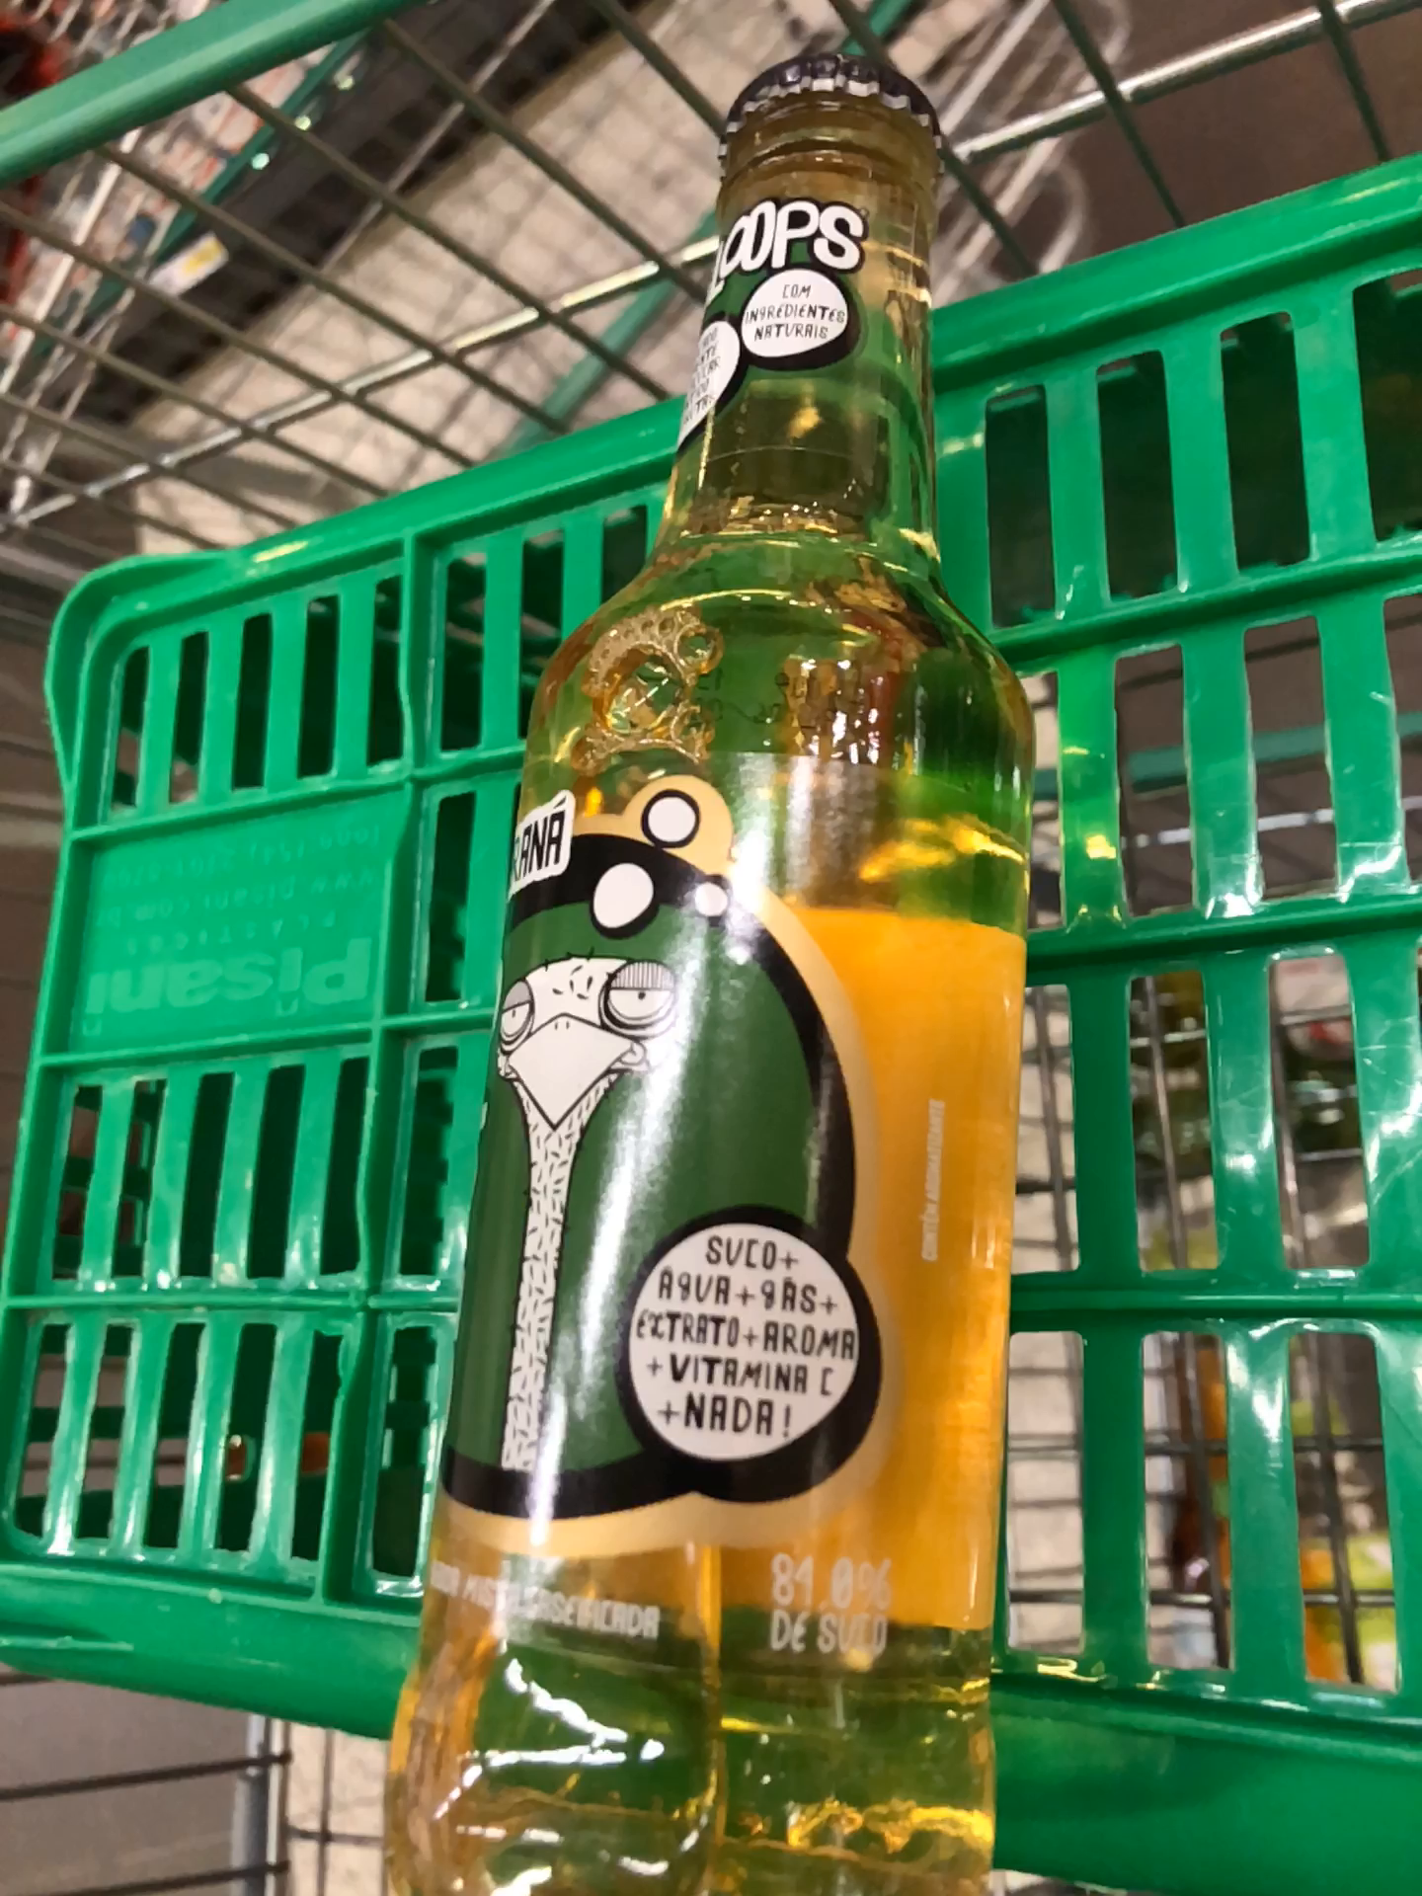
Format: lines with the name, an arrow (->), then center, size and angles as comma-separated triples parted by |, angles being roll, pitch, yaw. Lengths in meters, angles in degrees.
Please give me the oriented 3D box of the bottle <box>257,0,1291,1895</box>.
bottle -> 0.014, -0.006, 0.165 | 0.070, 0.060, 0.220 | -5, 74, 32
